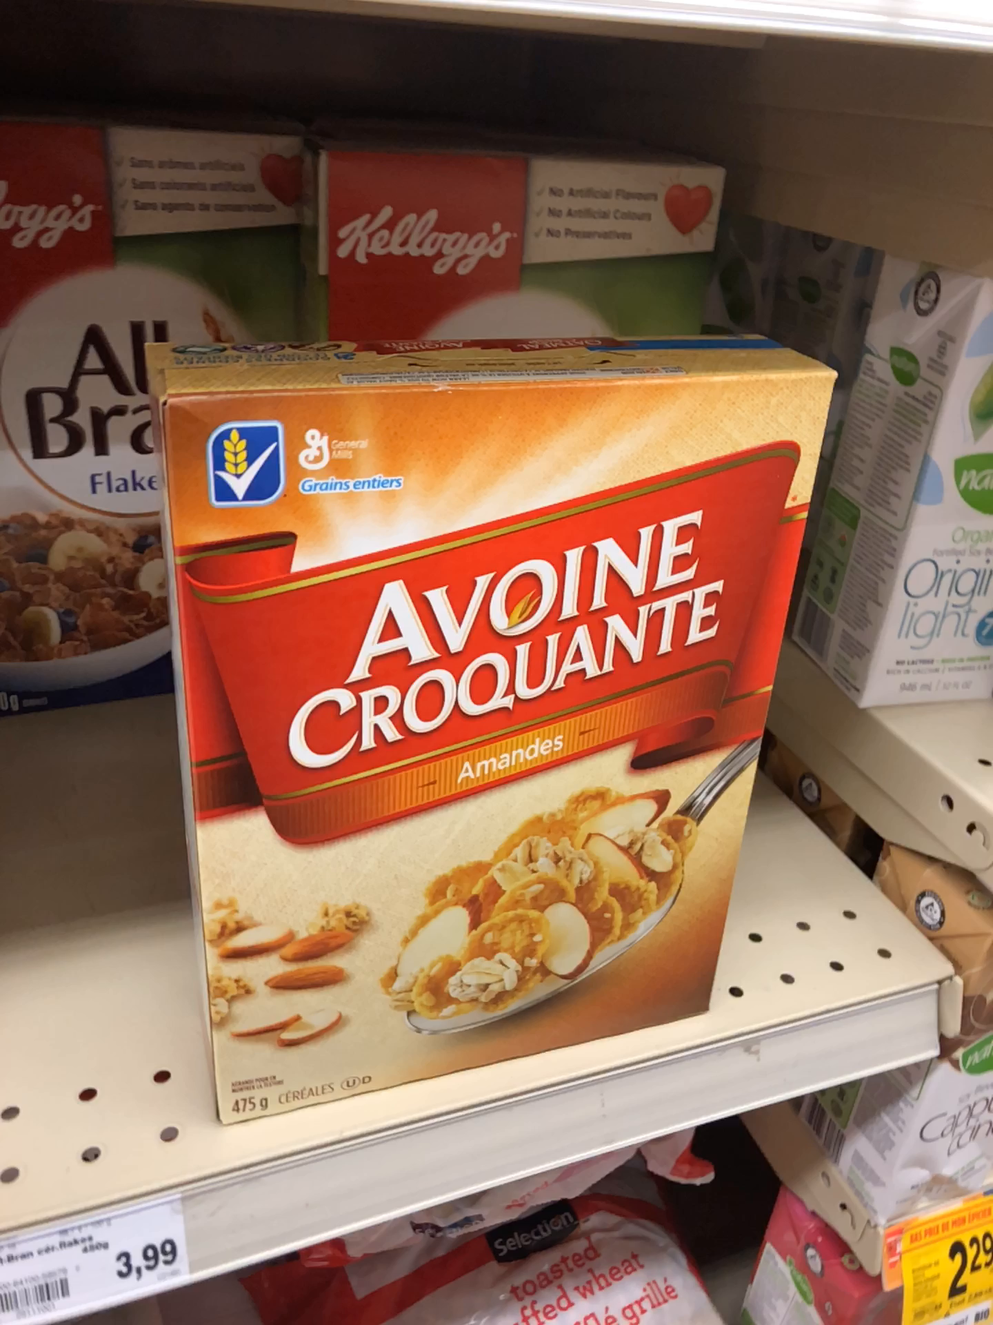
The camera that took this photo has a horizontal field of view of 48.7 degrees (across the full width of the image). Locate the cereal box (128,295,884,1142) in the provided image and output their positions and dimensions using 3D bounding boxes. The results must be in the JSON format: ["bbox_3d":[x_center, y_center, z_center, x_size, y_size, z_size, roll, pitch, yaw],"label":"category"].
[{"bbox_3d":[-0.004,0.022,0.367,0.200,0.268,0.060,-6,31,-19],"label":"cereal box"}]
